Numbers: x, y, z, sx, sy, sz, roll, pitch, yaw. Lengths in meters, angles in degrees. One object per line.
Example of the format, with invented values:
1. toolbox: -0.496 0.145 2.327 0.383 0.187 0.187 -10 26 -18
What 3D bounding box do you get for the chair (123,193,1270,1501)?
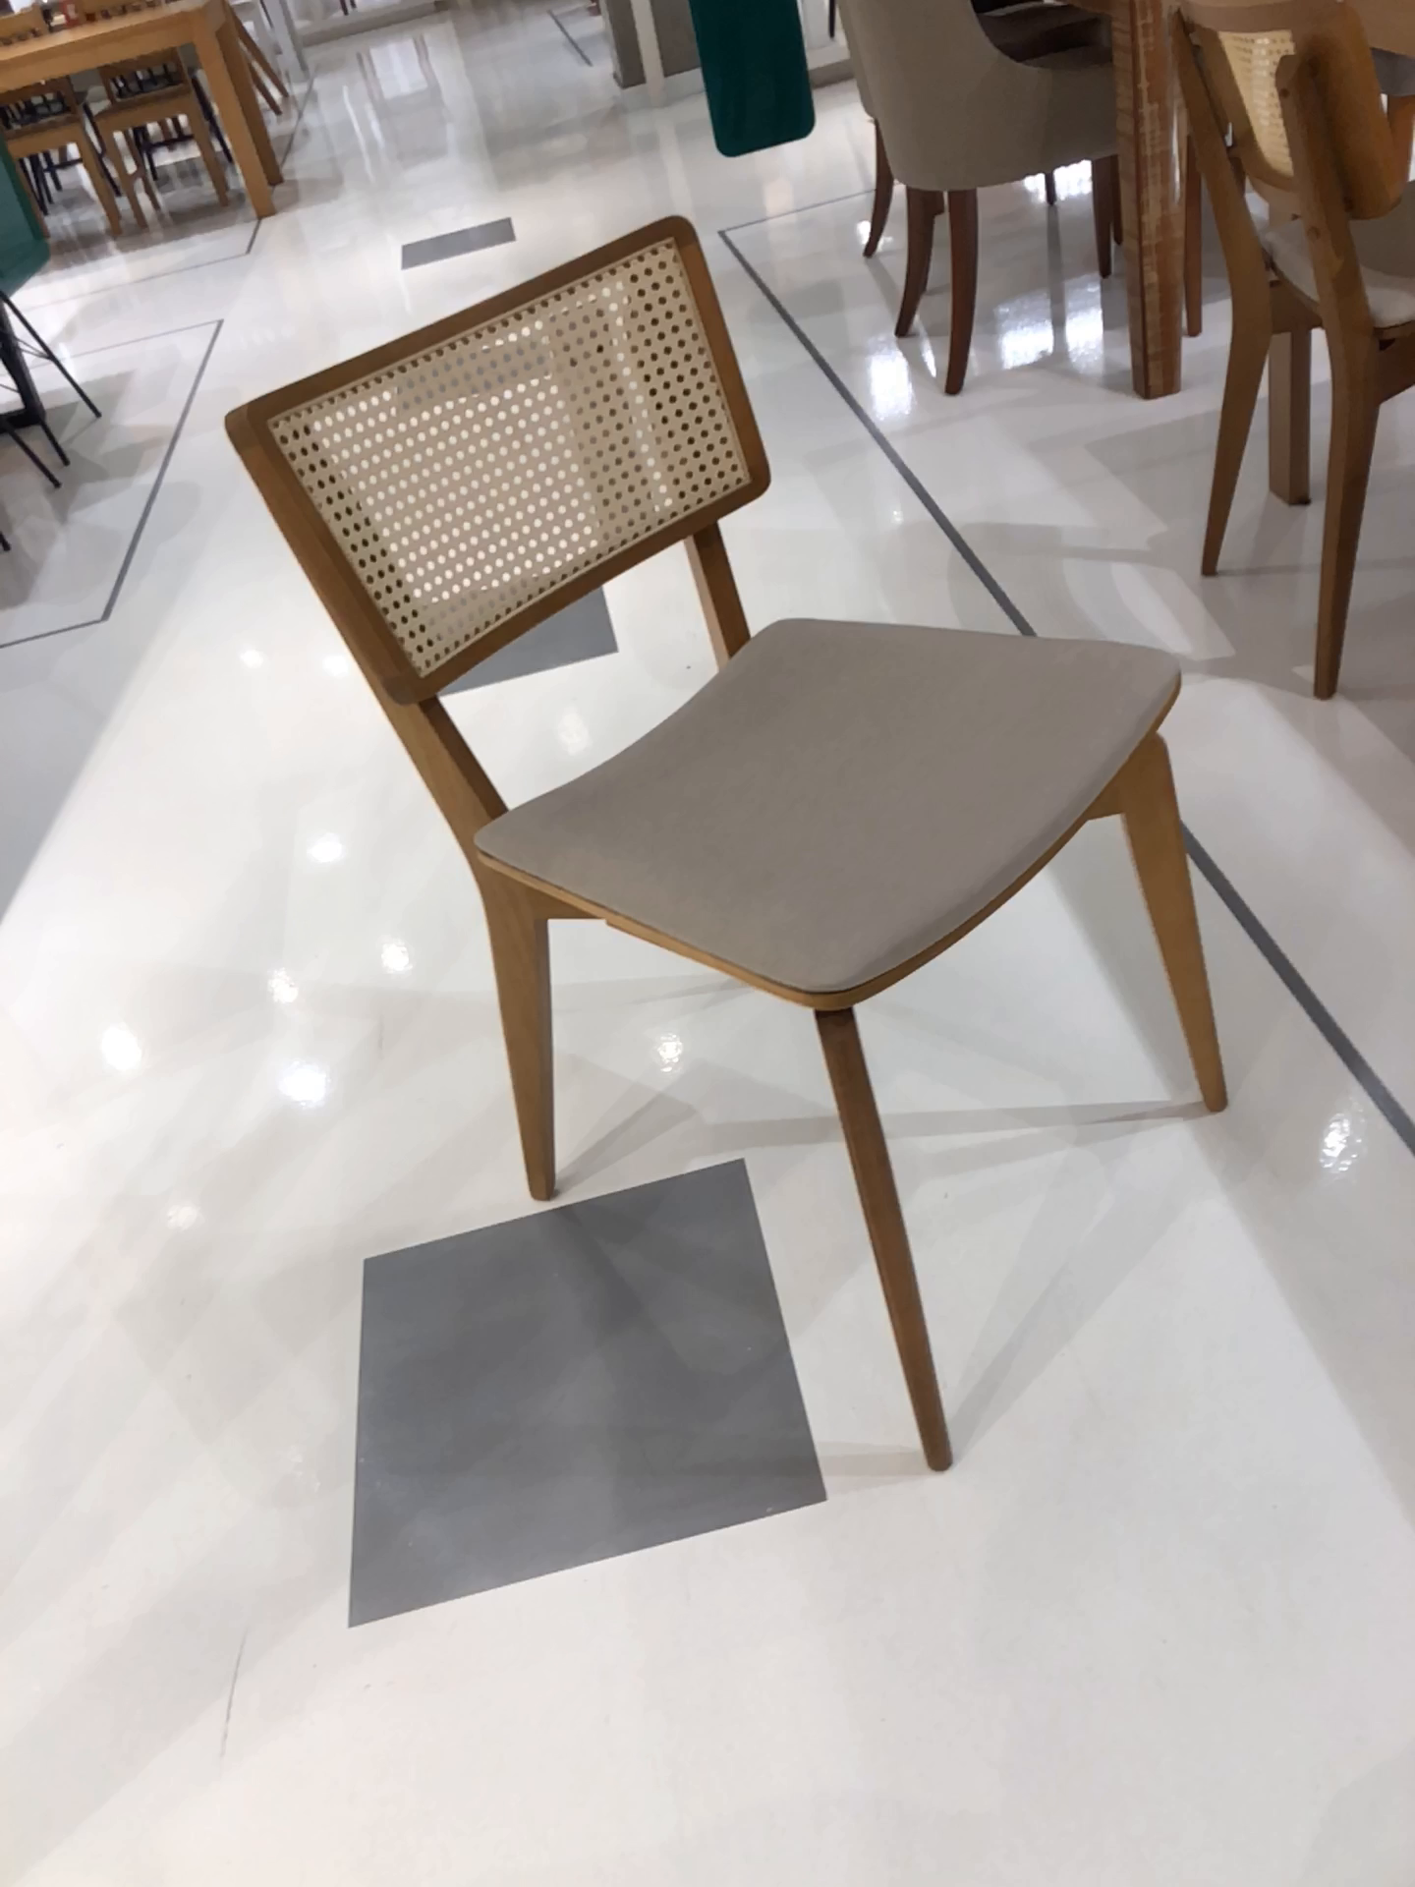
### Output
1. chair: 0.055 -0.116 1.302 0.602 0.794 0.542 21 49 39
